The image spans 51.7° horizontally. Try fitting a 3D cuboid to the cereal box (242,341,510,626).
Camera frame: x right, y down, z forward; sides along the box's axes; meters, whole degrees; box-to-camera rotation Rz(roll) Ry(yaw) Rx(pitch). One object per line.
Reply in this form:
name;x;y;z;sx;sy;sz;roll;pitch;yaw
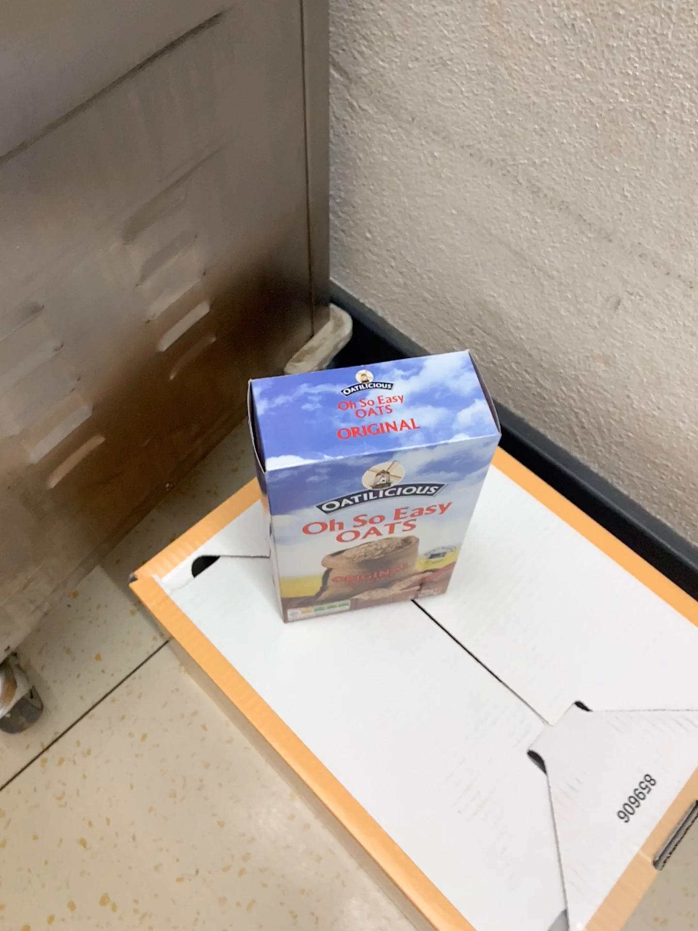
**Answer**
cereal box;0.011;0.025;0.469;0.130;0.219;0.060;-9;58;-7
